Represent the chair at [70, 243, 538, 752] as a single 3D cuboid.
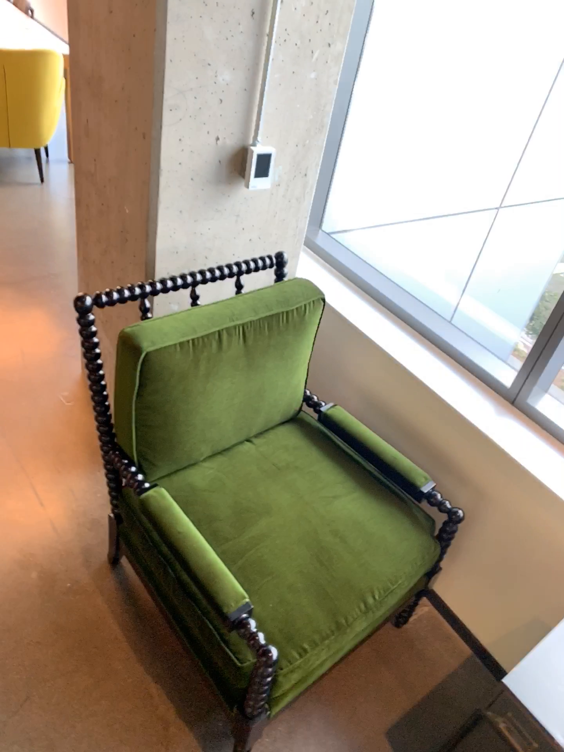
[{"bbox_3d":[-0.045,0.316,1.675,0.732,0.975,0.922,-22,49,-37],"label":"chair"}]
